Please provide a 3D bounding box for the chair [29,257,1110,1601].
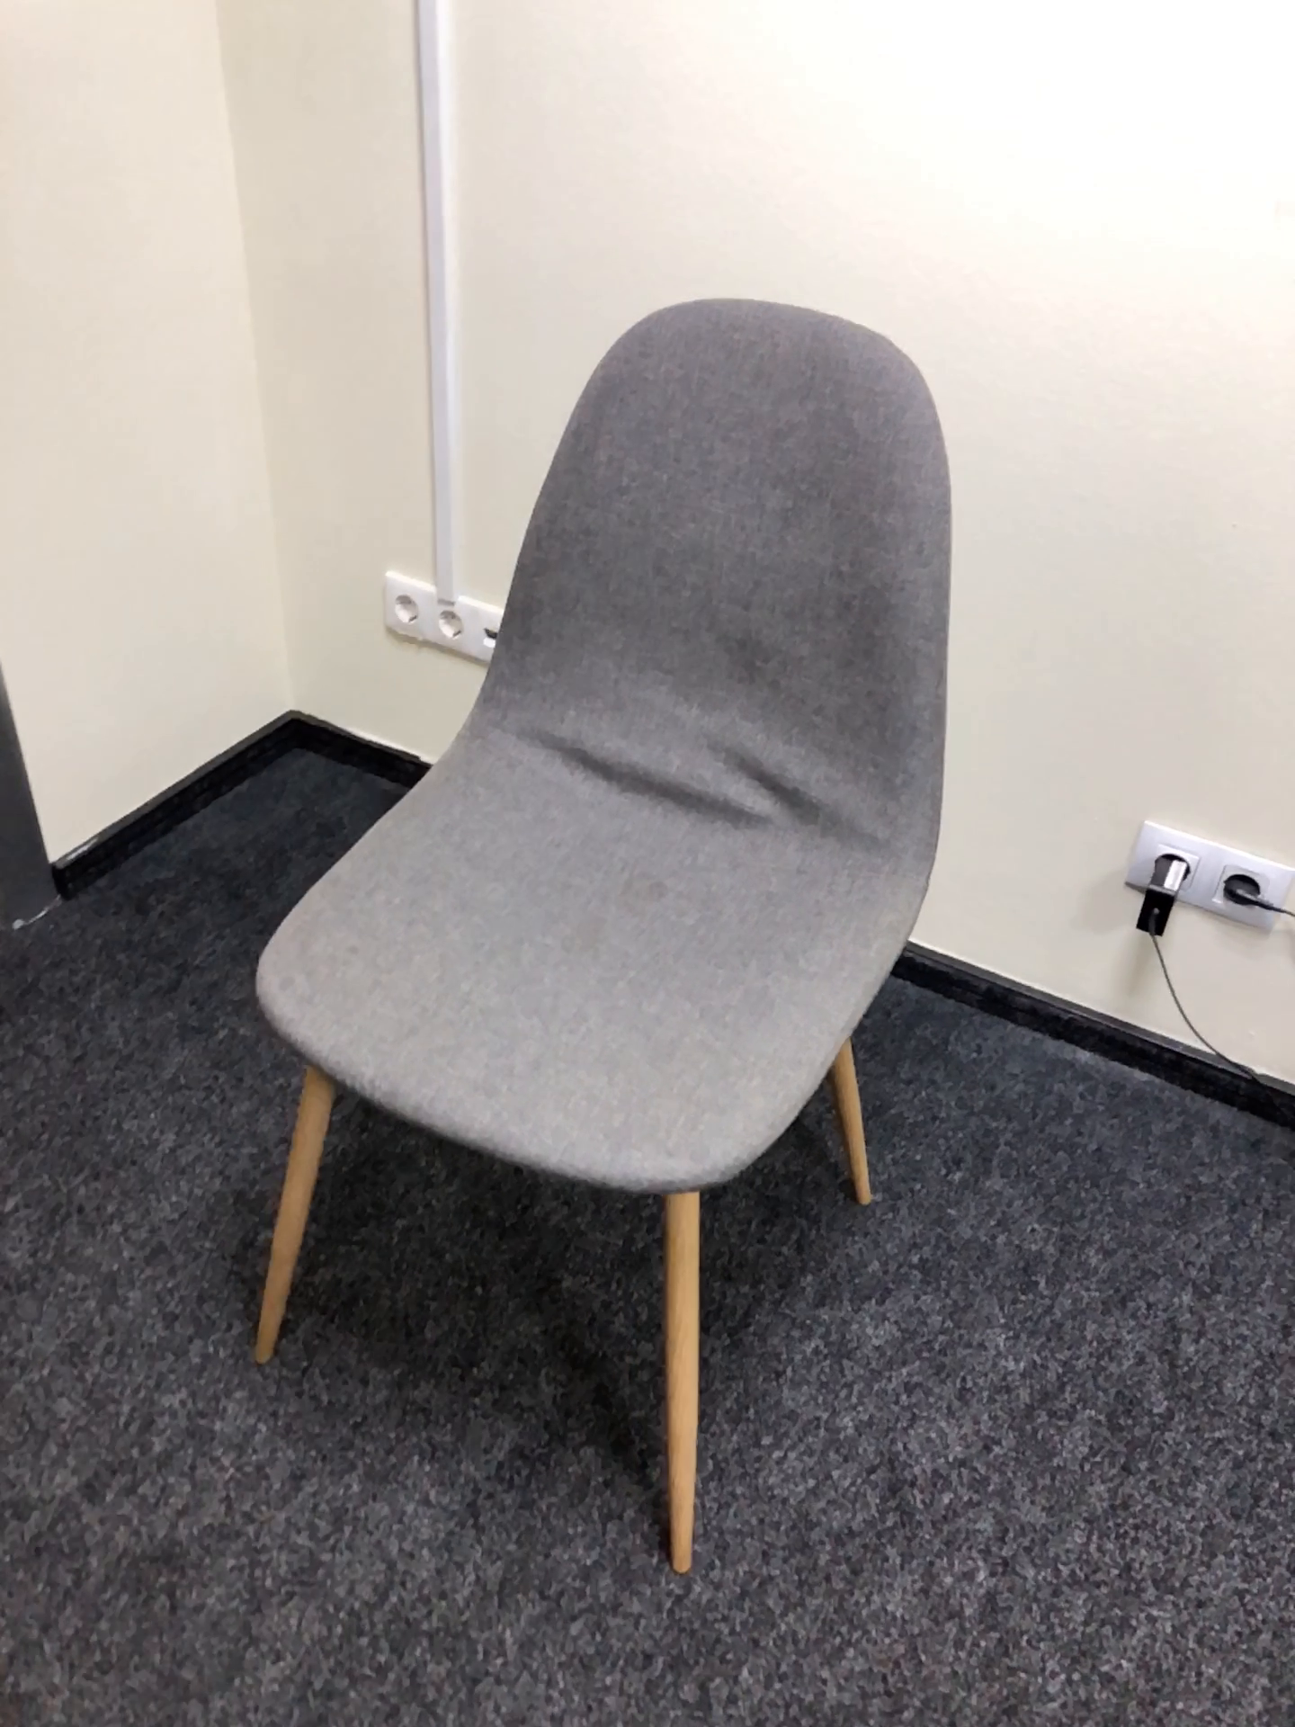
[{"bbox_3d":[-0.016,0.022,1.148,0.470,0.785,0.604,18,39,19],"label":"chair"}]
